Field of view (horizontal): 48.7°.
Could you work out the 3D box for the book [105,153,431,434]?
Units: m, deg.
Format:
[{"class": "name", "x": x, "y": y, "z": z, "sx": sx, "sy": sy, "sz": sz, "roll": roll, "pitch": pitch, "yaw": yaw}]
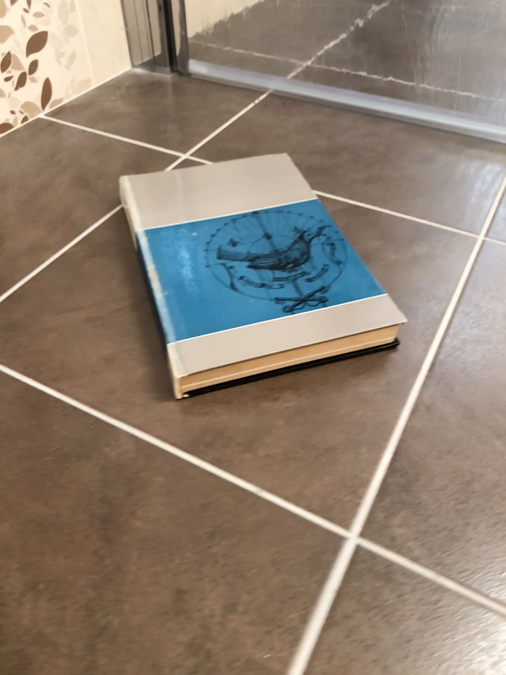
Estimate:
[{"class": "book", "x": -0.010, "y": -0.068, "z": 0.513, "sx": 0.210, "sy": 0.040, "sz": 0.301, "roll": -12, "pitch": 46, "yaw": -11}]
